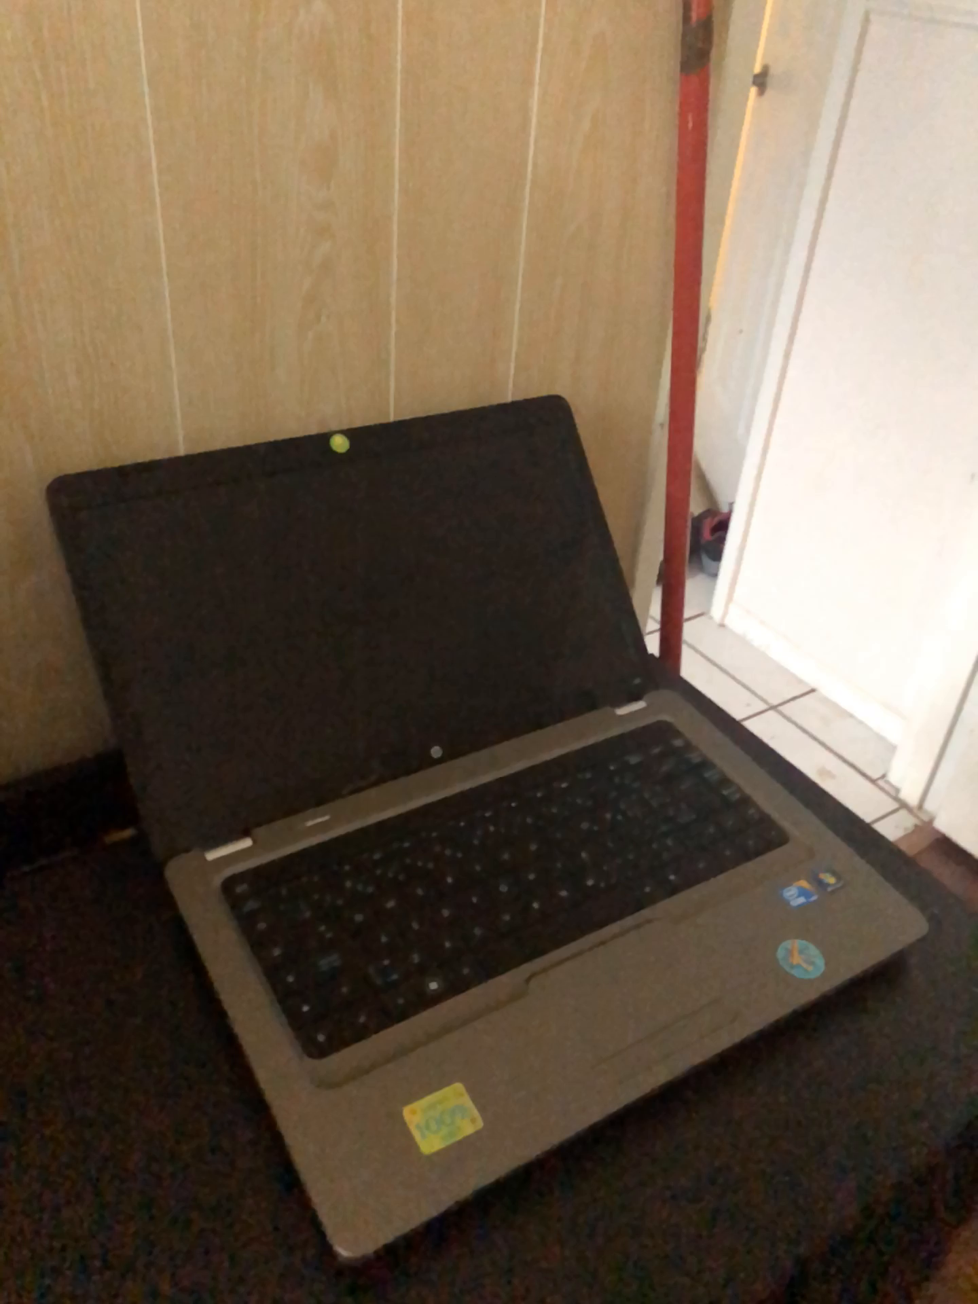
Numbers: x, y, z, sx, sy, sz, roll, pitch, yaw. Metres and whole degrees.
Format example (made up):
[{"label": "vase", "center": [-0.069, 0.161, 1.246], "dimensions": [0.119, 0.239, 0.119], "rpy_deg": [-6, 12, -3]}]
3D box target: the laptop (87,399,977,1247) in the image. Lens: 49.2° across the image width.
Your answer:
[{"label": "laptop", "center": [0.008, 0.032, 0.627], "dimensions": [0.356, 0.166, 0.403], "rpy_deg": [-17, 41, -27]}]
